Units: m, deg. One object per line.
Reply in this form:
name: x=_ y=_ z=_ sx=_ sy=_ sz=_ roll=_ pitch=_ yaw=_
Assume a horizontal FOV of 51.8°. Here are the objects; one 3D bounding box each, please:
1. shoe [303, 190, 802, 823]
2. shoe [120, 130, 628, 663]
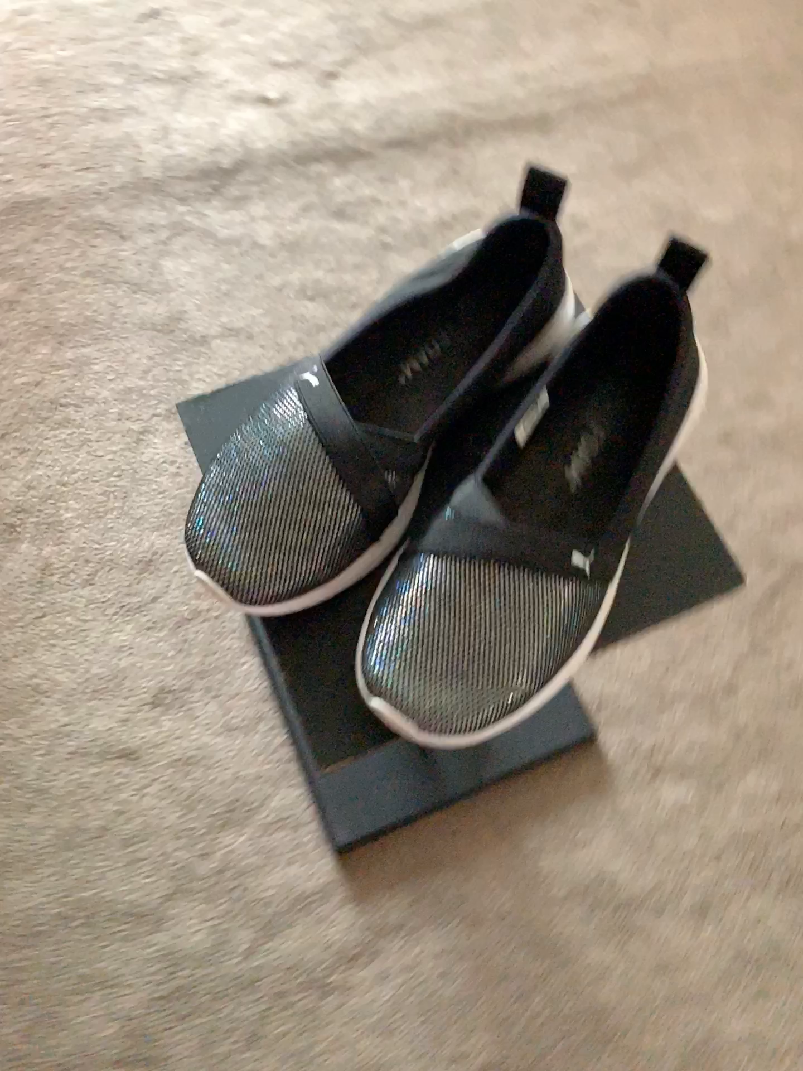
shoe: x=0.070 y=-0.013 z=0.384 sx=0.090 sy=0.080 sz=0.260 roll=31 pitch=84 yaw=9
shoe: x=-0.007 y=-0.062 z=0.402 sx=0.090 sy=0.080 sz=0.240 roll=39 pitch=83 yaw=11
